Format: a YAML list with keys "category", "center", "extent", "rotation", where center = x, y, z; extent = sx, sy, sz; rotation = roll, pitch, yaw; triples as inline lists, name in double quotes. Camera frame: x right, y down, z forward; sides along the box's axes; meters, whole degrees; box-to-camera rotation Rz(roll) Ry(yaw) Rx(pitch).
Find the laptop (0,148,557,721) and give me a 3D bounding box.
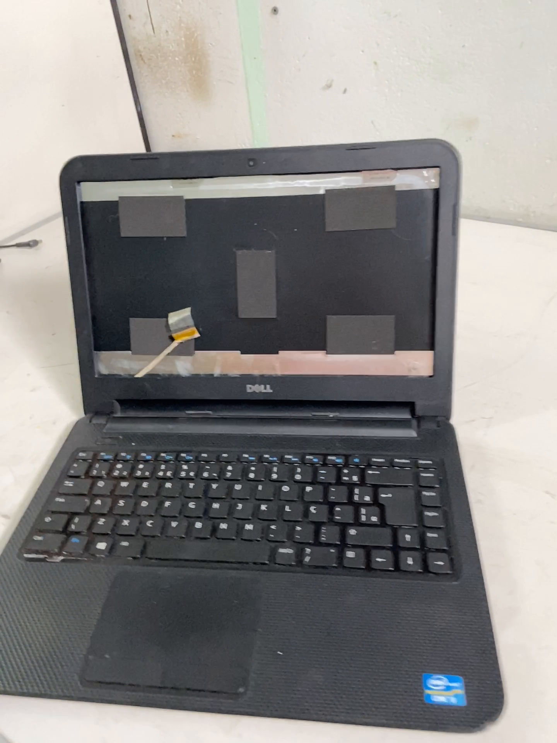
- category: "laptop"
  center: [-0.032, 0.005, 0.395]
  extent: [0.319, 0.193, 0.337]
  rotation: [0, 38, 8]
